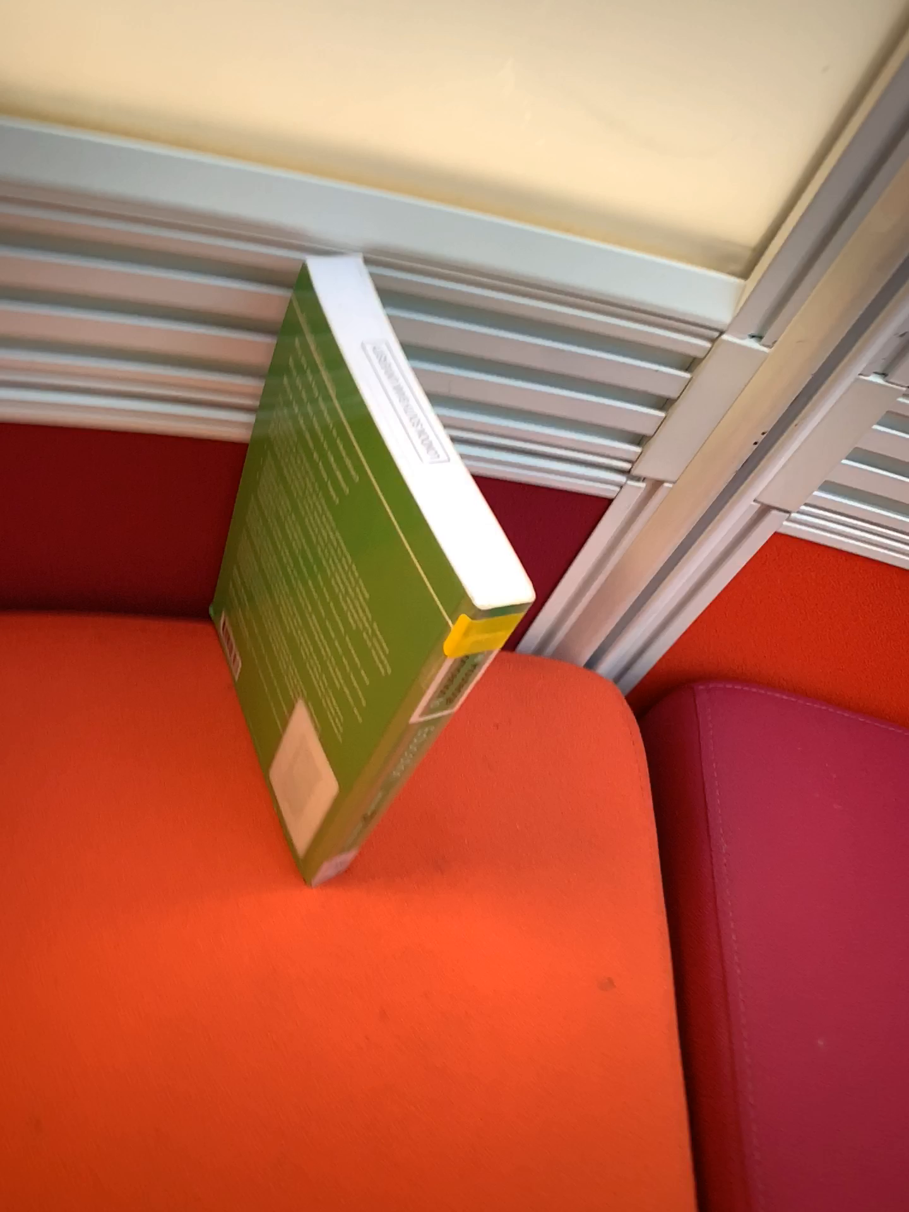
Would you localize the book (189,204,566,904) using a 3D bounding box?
[{"bbox_3d":[-0.064,-0.006,0.441,0.040,0.268,0.201,-8,58,-29],"label":"book"}]
